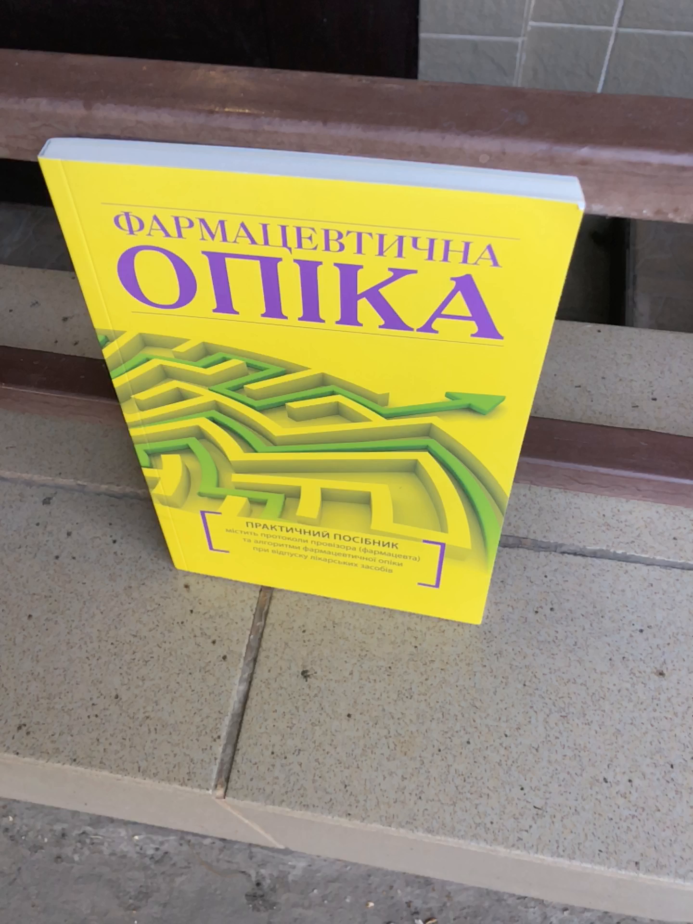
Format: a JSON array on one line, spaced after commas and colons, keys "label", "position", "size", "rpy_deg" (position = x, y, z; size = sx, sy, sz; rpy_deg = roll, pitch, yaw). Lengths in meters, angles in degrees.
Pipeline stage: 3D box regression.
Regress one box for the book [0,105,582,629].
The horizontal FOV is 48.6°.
[{"label": "book", "position": [-0.021, -0.015, 0.318], "size": [0.180, 0.239, 0.030], "rpy_deg": [8, 52, 8]}]
